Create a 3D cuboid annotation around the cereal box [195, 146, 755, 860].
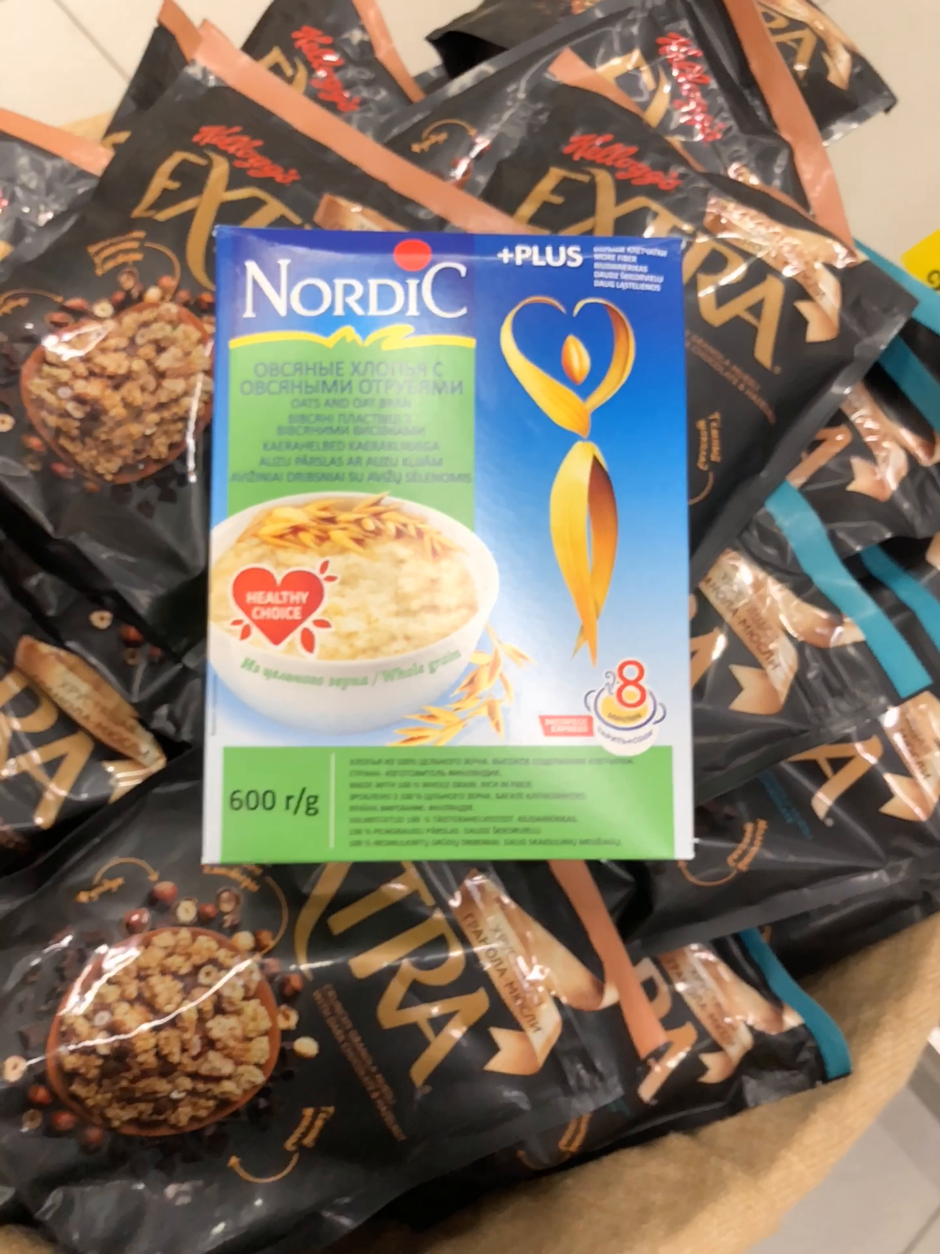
[{"bbox_3d":[0.001,-0.036,0.347,0.160,0.080,0.210,0,86,-2],"label":"cereal box"}]
